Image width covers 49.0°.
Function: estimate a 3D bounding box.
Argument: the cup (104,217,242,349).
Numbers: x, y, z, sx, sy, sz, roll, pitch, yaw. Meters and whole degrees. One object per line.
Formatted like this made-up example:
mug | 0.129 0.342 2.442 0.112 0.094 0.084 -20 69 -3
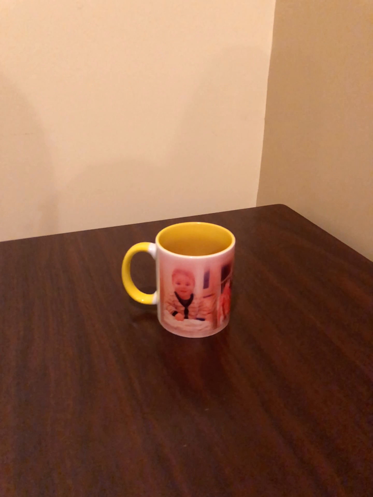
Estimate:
cup | -0.012 0.033 0.418 0.120 0.100 0.090 0 27 0
